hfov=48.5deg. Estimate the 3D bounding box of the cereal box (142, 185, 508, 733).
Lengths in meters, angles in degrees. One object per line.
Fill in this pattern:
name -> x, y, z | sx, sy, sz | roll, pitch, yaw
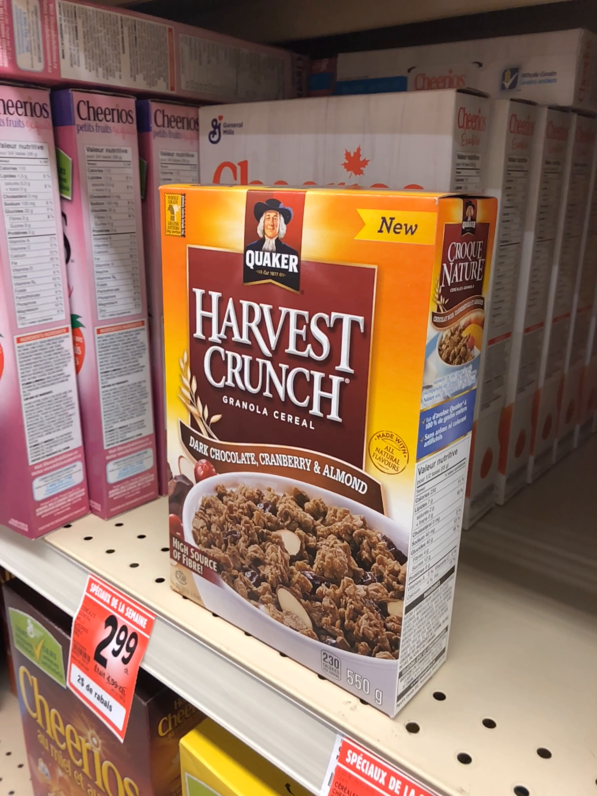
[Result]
cereal box -> 0.002, 0.016, 0.345 | 0.170, 0.239, 0.060 | 15, 21, 37
